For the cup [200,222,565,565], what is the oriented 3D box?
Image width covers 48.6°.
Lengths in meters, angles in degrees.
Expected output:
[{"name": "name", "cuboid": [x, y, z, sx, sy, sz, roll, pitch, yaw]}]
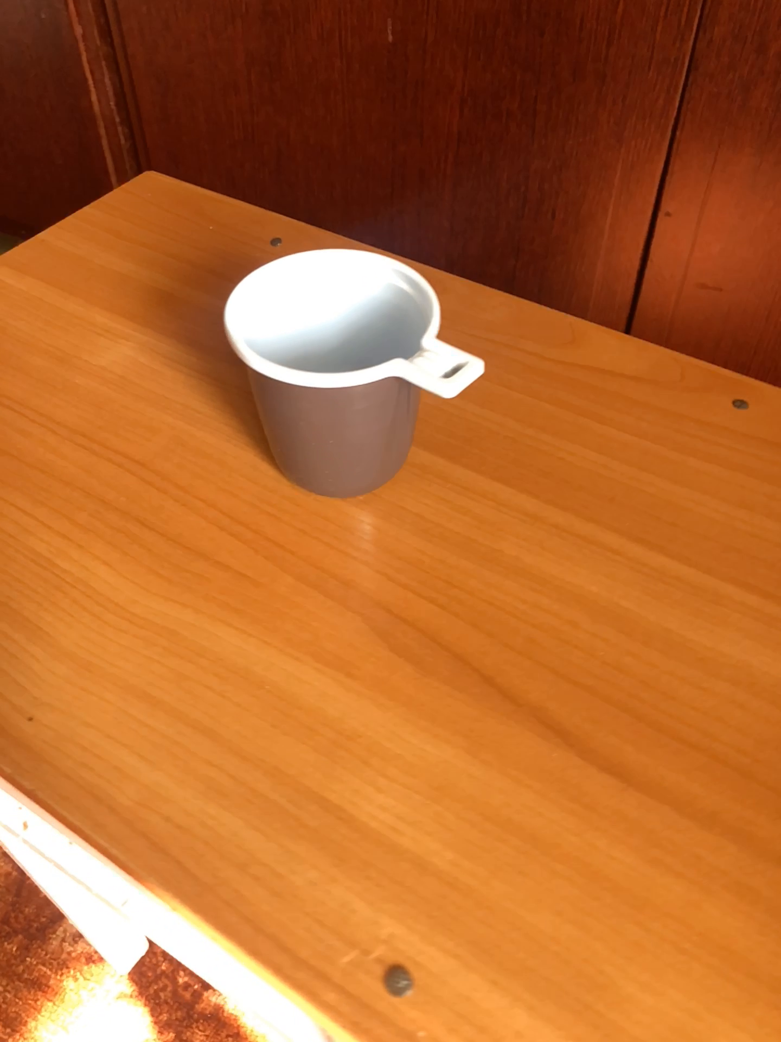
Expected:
[{"name": "cup", "cuboid": [-0.003, -0.049, 0.310, 0.100, 0.060, 0.070, 32, 55, 26]}]
